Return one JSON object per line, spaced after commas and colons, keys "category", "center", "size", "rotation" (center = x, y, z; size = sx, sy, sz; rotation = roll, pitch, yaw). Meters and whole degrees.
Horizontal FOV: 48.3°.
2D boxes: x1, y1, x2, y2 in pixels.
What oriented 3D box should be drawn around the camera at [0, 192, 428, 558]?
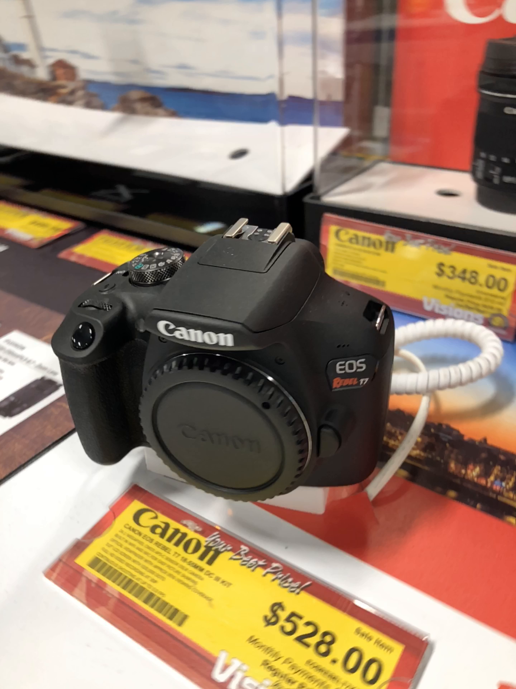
{"category": "camera", "center": [-0.010, 0.001, 0.231], "size": [0.130, 0.089, 0.091], "rotation": [10, 35, 20]}
